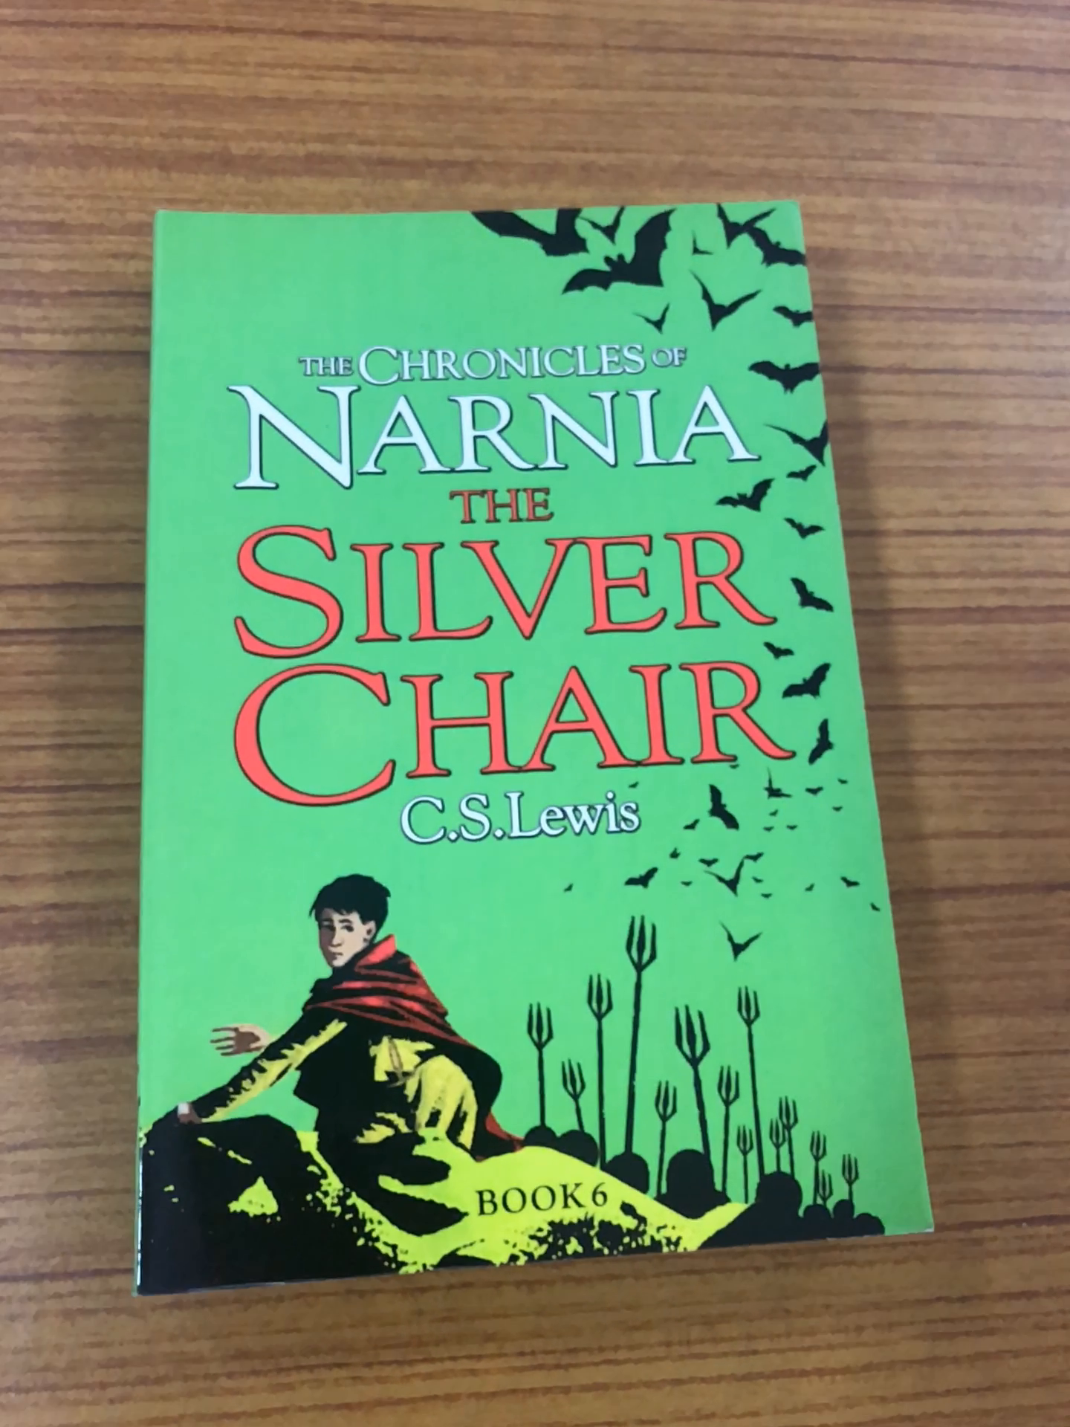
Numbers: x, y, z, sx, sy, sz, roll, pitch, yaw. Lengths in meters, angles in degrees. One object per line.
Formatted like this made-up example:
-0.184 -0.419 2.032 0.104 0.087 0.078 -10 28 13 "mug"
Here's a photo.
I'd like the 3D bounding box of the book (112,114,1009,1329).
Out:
-0.001 -0.010 0.226 0.140 0.030 0.210 -2 77 -6 "book"
